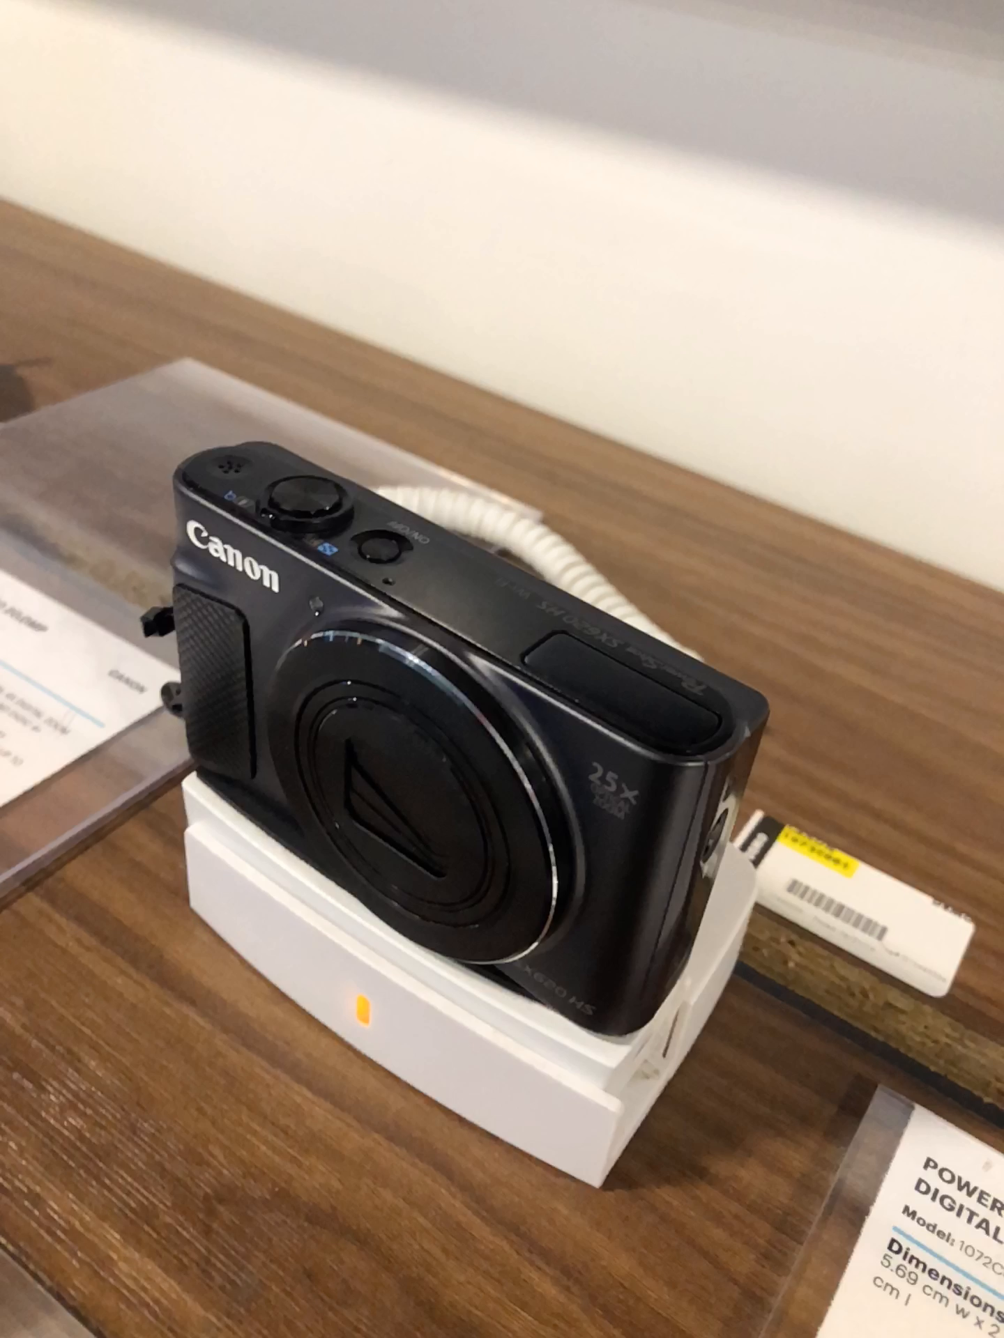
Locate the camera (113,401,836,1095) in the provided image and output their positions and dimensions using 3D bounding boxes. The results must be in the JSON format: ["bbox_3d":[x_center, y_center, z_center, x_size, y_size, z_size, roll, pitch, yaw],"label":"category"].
[{"bbox_3d":[-0.011,0.008,0.170,0.100,0.060,0.030,27,39,24],"label":"camera"}]
